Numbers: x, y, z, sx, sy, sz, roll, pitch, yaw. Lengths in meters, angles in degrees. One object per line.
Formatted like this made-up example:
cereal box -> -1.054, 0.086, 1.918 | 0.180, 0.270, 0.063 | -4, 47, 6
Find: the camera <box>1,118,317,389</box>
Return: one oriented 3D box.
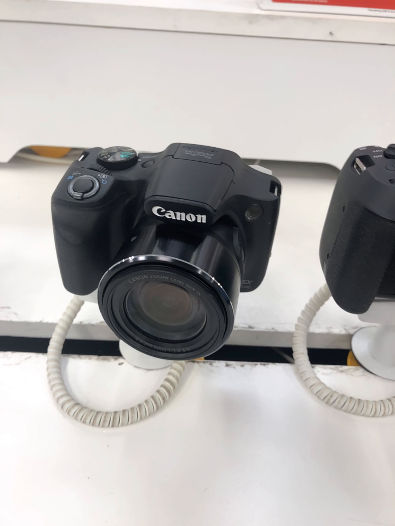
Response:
camera -> -0.012, -0.007, 0.222 | 0.120, 0.089, 0.081 | 9, 39, 5
